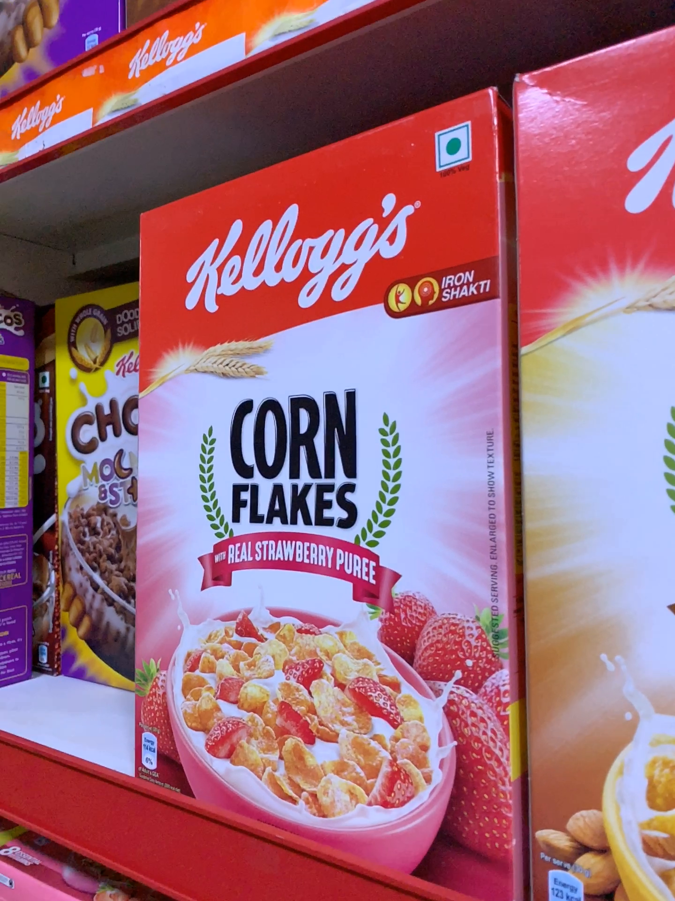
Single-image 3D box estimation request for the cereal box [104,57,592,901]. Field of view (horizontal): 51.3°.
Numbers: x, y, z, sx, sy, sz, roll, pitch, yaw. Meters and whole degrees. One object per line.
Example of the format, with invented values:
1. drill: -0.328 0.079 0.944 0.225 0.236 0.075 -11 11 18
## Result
1. cereal box: -0.007 0.007 0.280 0.190 0.240 0.060 -2 -4 36
